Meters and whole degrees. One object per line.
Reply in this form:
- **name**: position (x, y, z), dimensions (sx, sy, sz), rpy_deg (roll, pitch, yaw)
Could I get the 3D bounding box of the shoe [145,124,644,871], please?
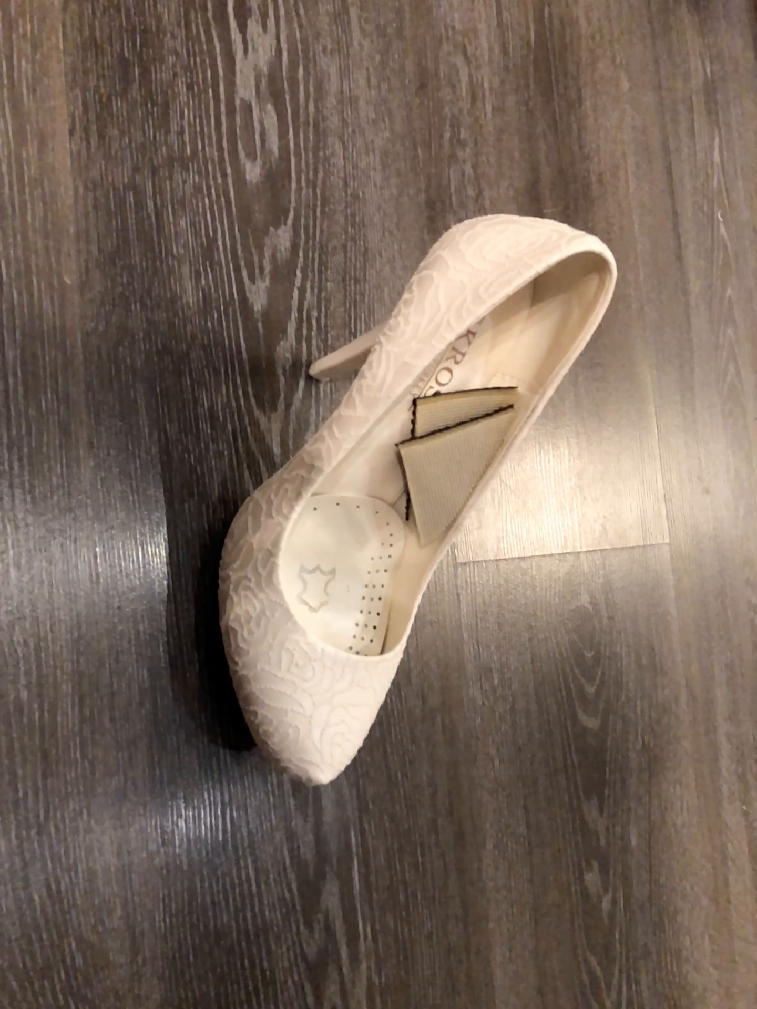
- **shoe**: position (0.003, 0.005, 0.312), dimensions (0.090, 0.149, 0.210), rpy_deg (16, 75, -34)
